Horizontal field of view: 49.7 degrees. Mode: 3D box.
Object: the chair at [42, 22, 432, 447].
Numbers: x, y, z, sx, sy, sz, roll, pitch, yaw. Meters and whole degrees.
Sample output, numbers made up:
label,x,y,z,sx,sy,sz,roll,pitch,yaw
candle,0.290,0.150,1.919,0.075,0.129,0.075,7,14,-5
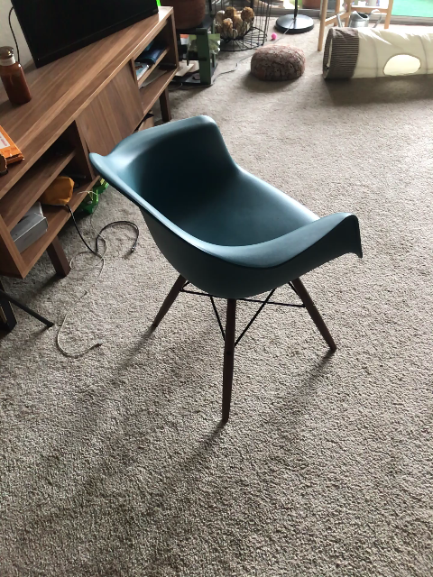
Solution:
label,x,y,z,sx,sy,sz,roll,pitch,yaw
chair,0.046,-0.117,1.243,0.562,0.785,0.582,-30,54,-16
